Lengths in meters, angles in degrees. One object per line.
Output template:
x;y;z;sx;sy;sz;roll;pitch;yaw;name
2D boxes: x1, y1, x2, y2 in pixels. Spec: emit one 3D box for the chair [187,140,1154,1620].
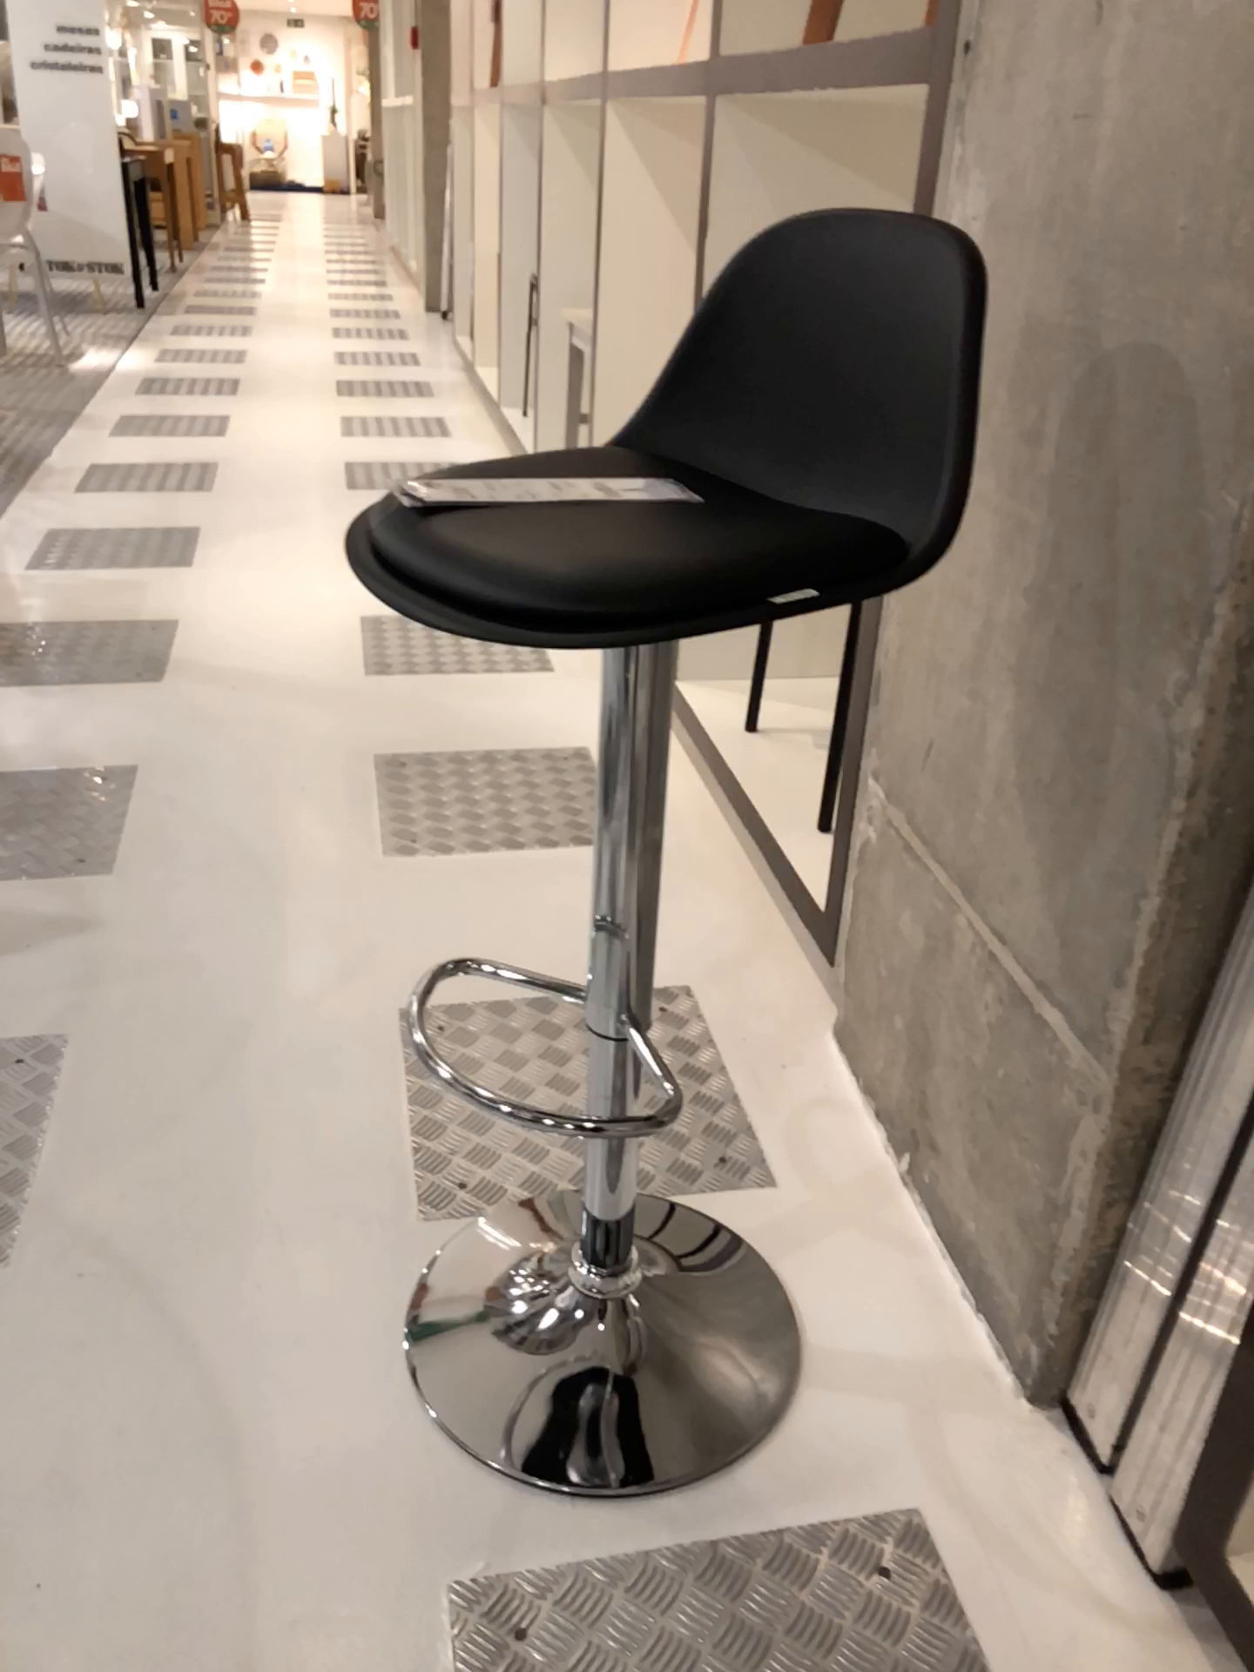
-0.012;0.018;1.124;0.471;1.012;0.432;-14;31;-30;chair
